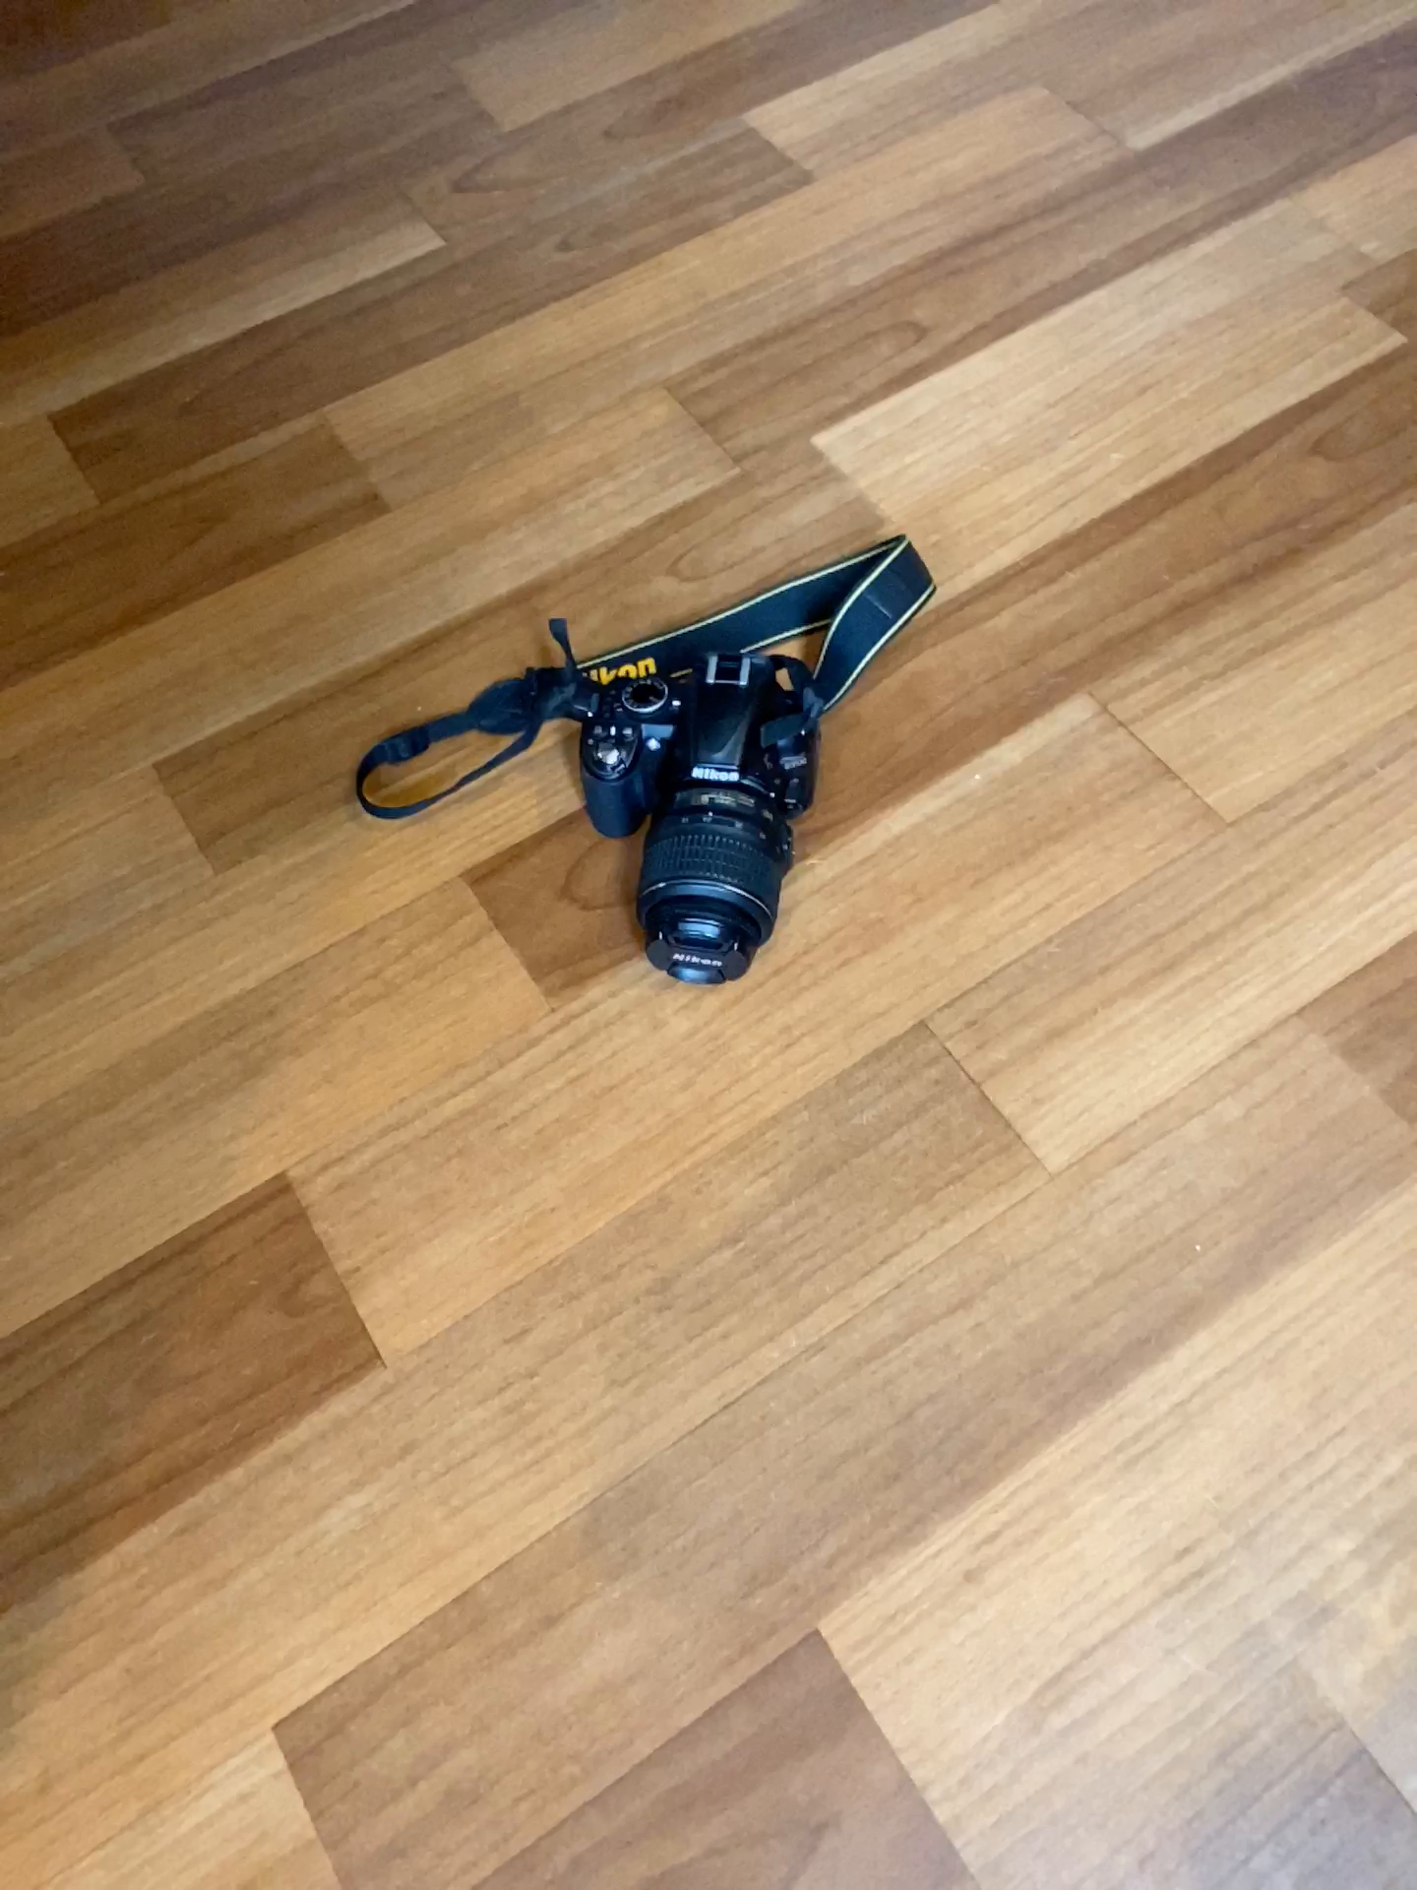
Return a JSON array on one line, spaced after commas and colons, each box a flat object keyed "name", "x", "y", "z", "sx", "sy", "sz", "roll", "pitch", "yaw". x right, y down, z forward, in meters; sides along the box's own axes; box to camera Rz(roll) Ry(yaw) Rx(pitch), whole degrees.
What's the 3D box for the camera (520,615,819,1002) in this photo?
[{"name": "camera", "x": -0.012, "y": -0.069, "z": 0.720, "sx": 0.120, "sy": 0.090, "sz": 0.162, "roll": 4, "pitch": 61, "yaw": 6}]
